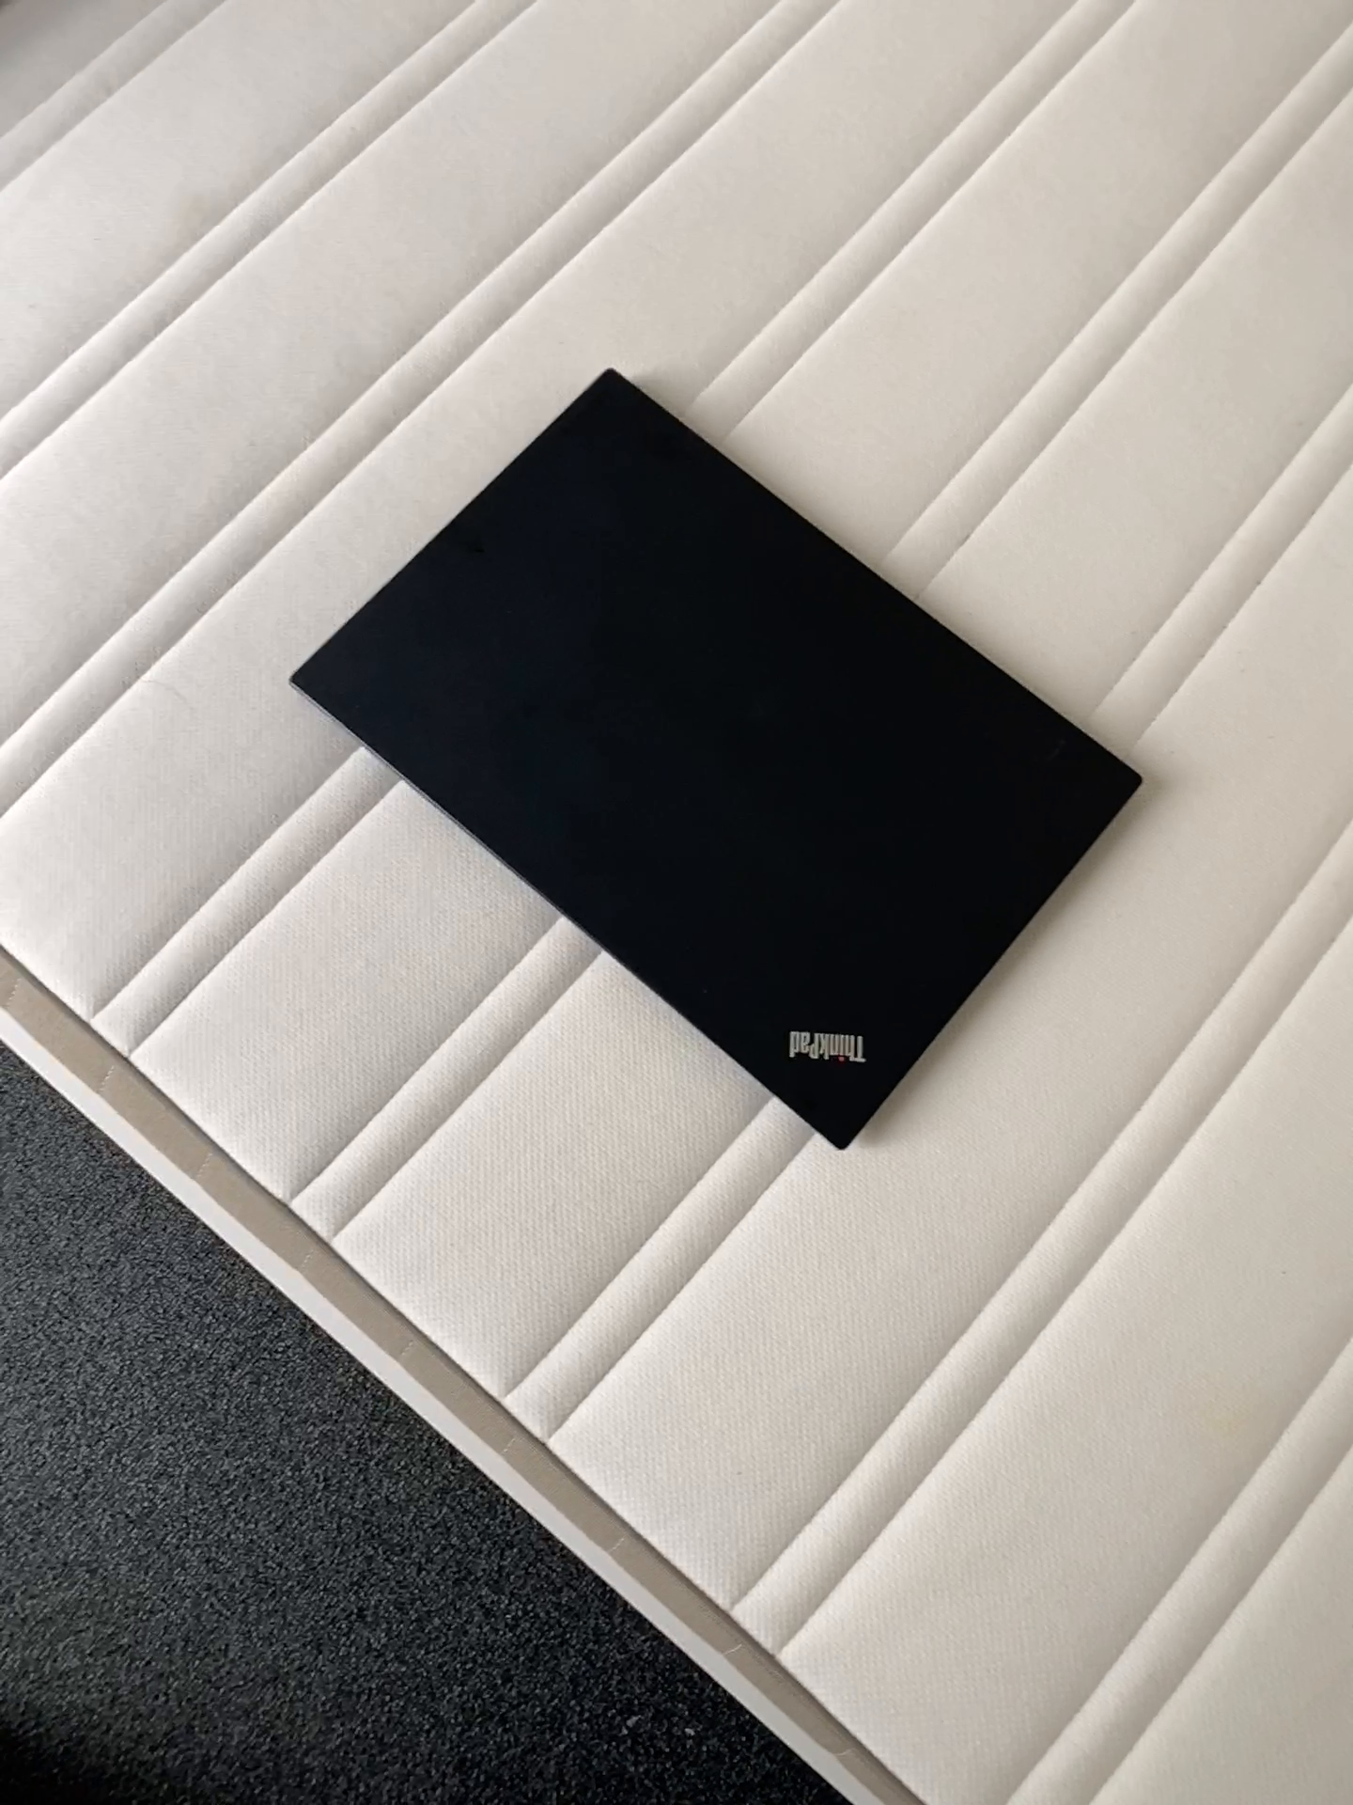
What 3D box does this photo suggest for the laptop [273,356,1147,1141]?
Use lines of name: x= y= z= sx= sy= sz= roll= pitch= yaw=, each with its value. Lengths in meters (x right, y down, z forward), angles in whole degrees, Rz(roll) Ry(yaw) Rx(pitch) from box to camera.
laptop: x=0.017 y=-0.084 z=0.629 sx=0.325 sy=0.012 sz=0.225 roll=39 pitch=74 yaw=8
